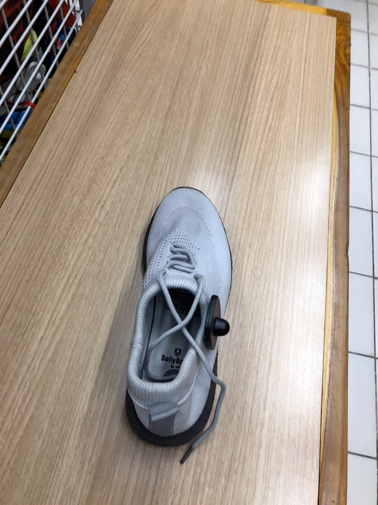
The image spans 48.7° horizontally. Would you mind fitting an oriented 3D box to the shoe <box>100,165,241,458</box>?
[{"bbox_3d":[-0.010,0.052,0.429,0.100,0.100,0.271,7,59,-2],"label":"shoe"}]
